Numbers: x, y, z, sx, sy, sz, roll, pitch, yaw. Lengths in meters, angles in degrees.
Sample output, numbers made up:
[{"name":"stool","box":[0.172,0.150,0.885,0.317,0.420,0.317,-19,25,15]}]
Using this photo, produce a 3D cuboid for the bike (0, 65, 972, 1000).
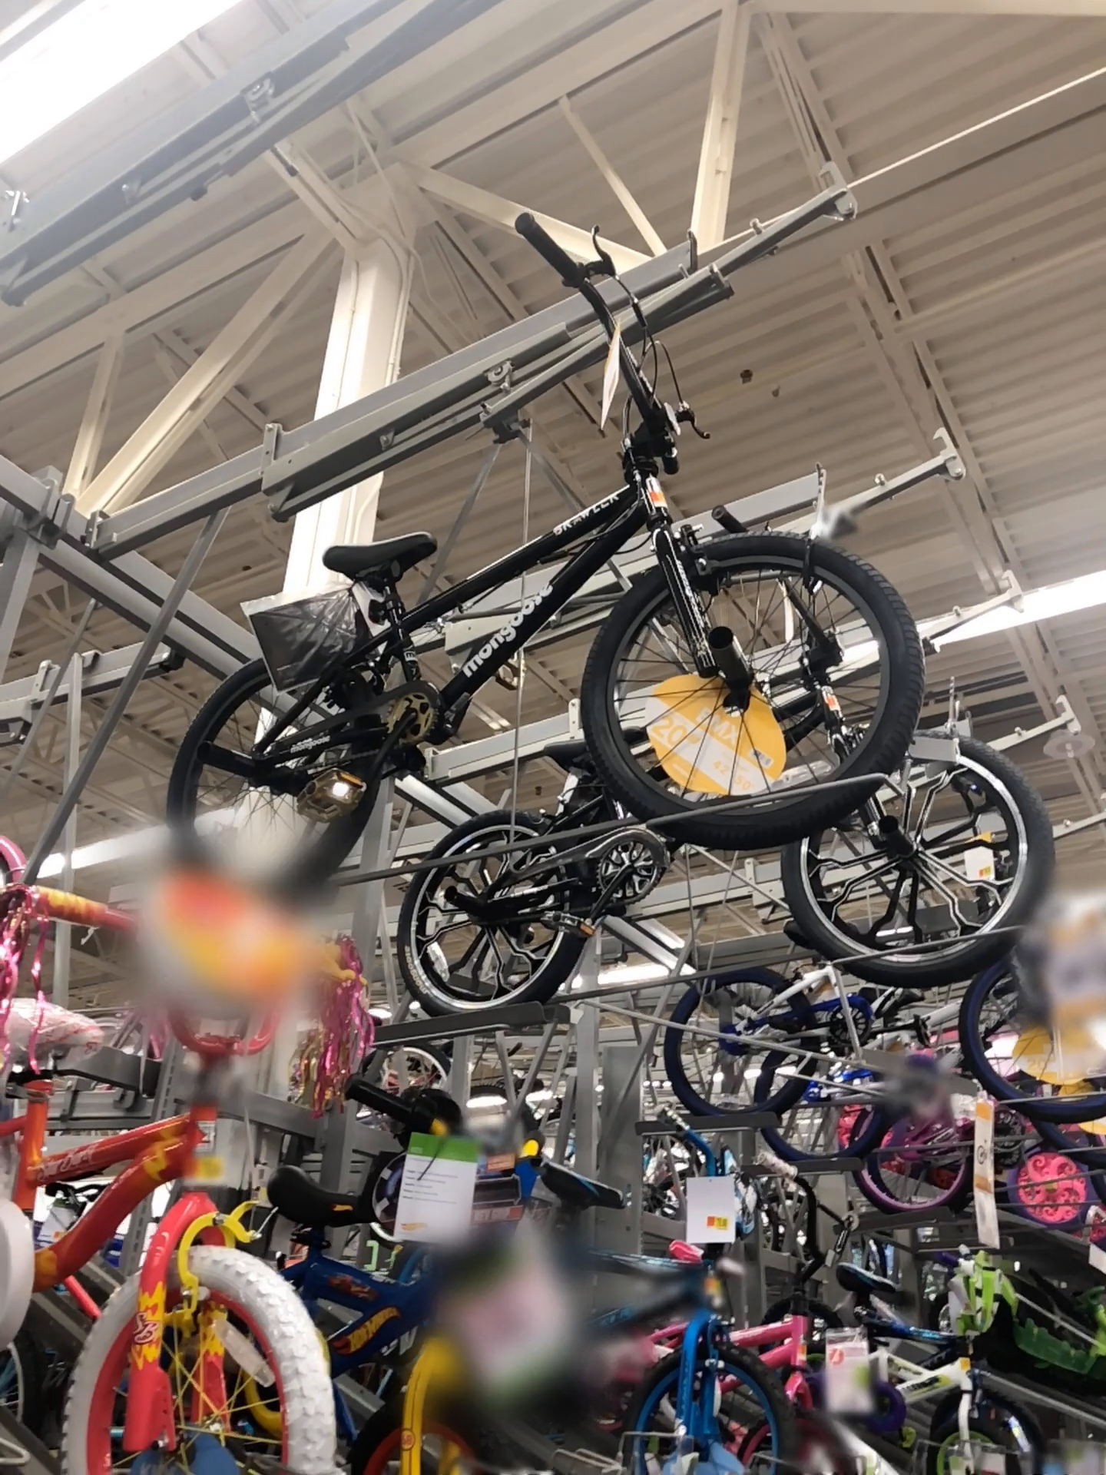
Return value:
[{"name":"bike","box":[-0.158,-0.194,1.967,1.351,0.909,0.750,-13,-33,27]}]
